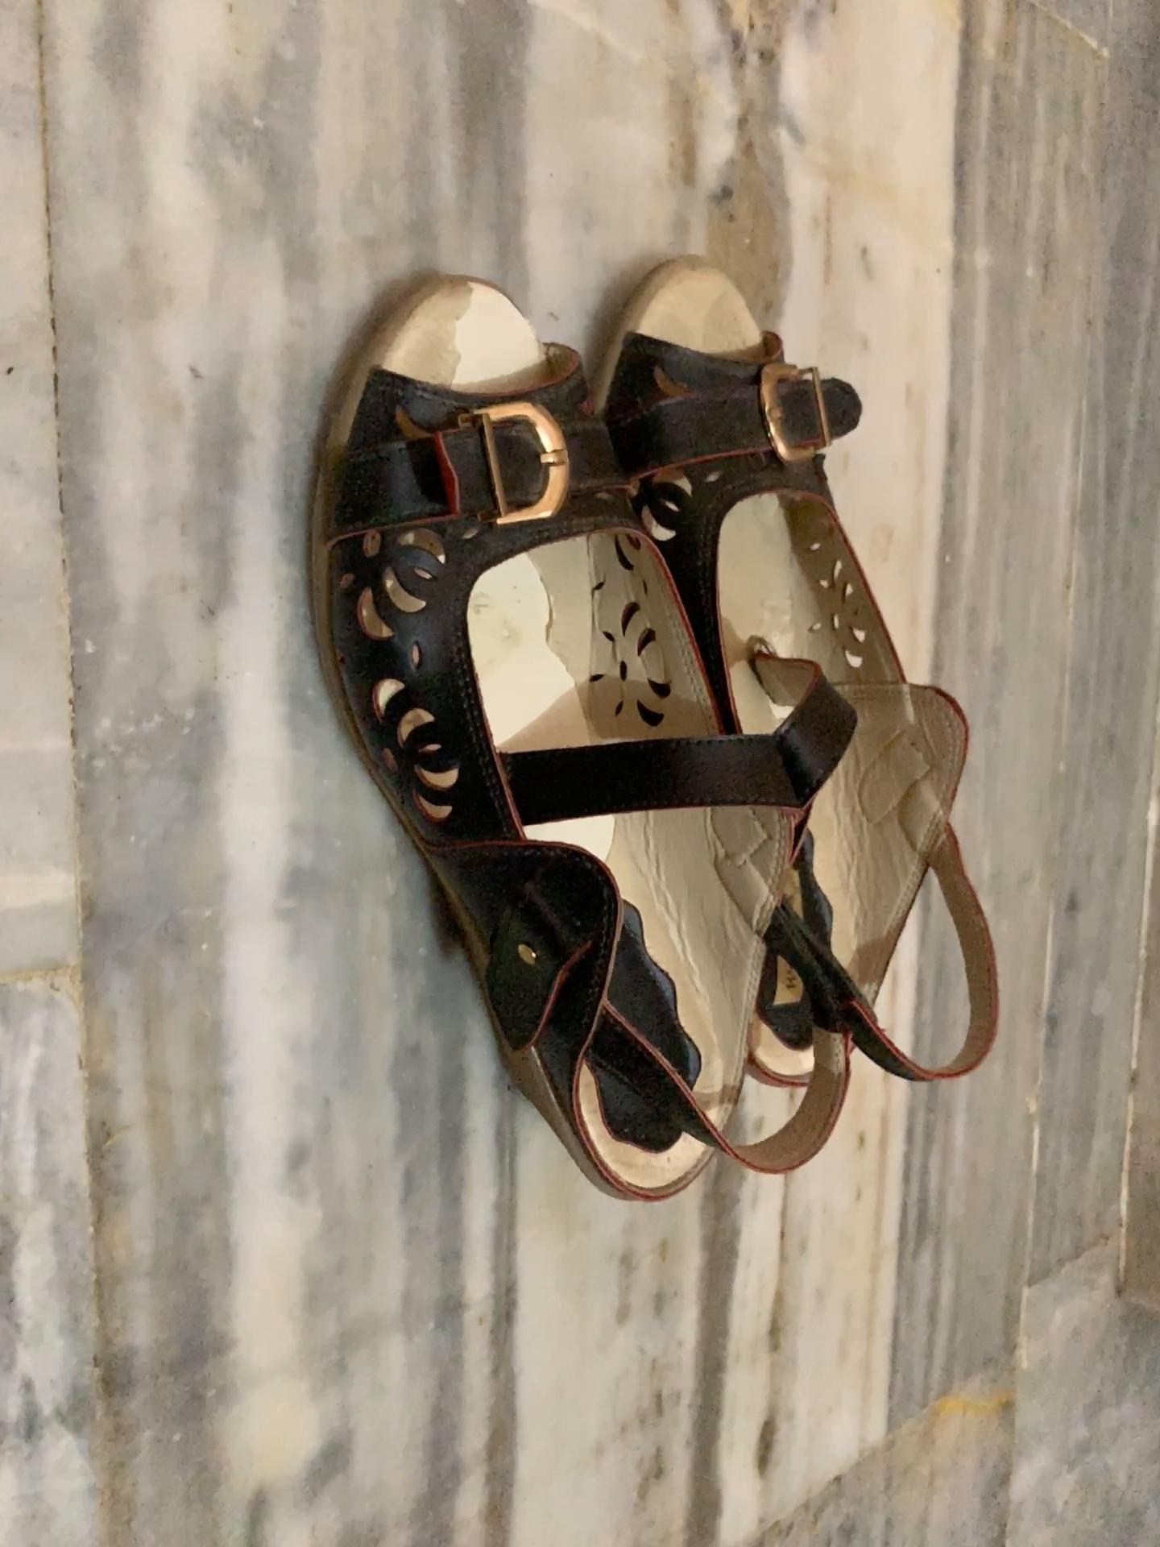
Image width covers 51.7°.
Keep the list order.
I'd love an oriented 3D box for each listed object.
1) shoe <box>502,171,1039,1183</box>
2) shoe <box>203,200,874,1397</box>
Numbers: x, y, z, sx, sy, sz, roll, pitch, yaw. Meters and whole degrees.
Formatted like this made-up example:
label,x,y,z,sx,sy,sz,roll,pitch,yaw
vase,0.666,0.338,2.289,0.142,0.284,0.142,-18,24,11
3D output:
label,x,y,z,sx,sy,sz,roll,pitch,yaw
shoe,0.065,-0.028,0.369,0.100,0.100,0.261,-20,110,-38
shoe,-0.003,0.004,0.315,0.100,0.100,0.261,-20,110,-38
